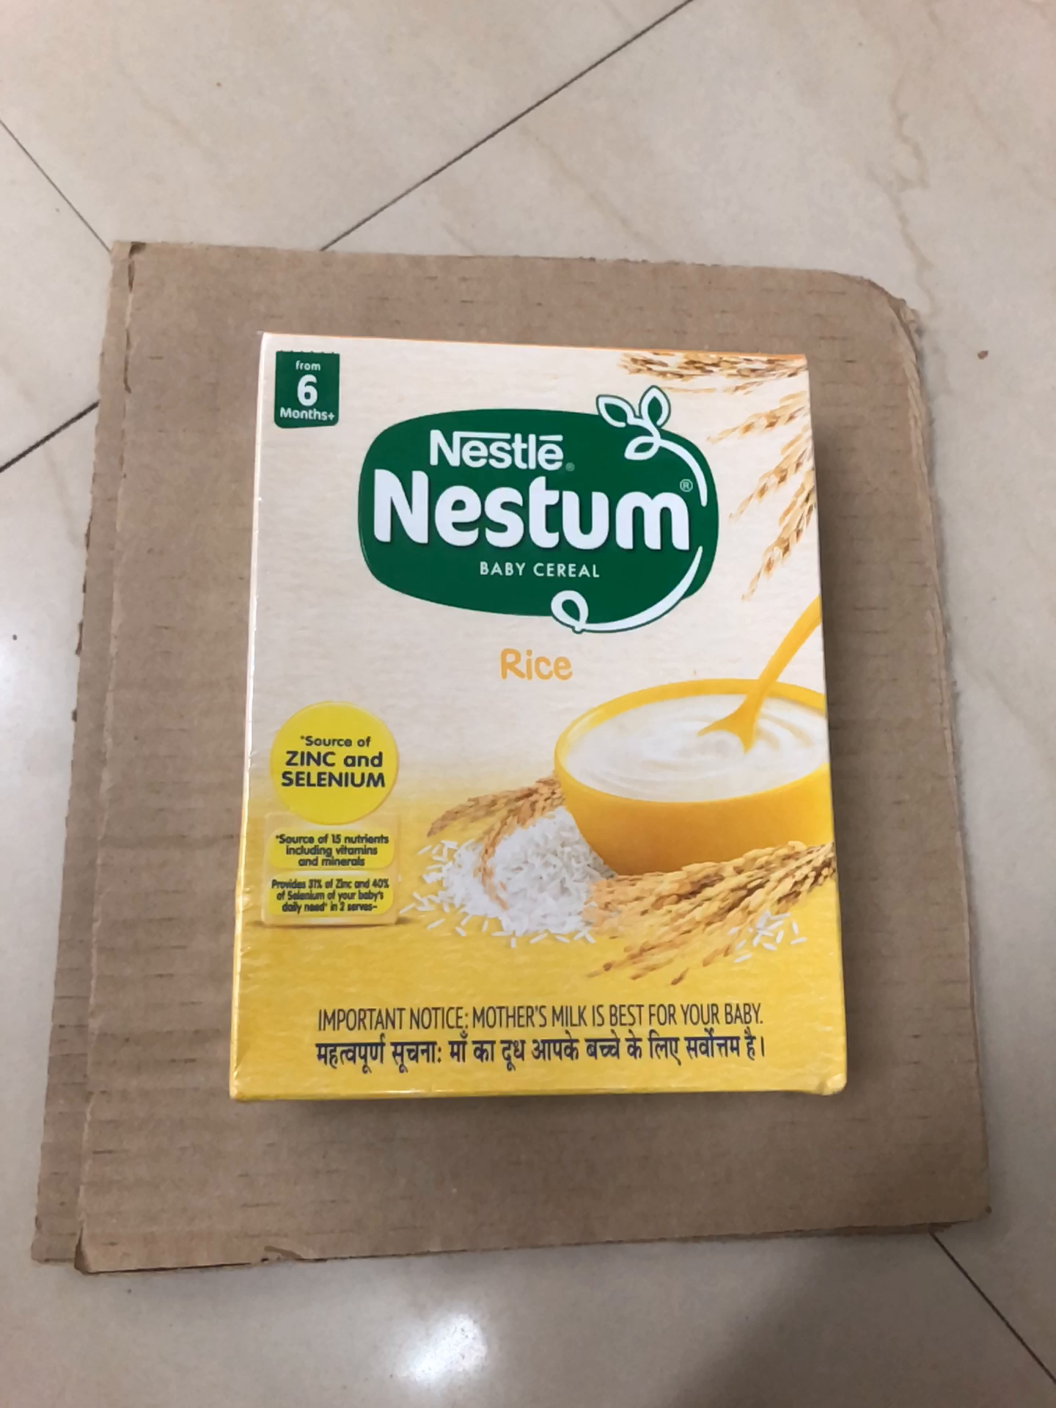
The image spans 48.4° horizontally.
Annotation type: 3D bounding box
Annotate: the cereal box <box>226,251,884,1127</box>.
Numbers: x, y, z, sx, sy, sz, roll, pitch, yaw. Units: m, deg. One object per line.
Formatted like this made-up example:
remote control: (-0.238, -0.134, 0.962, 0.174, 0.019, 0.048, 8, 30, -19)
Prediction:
cereal box: (0.005, -0.004, 0.314, 0.150, 0.060, 0.210, 1, 79, -7)
